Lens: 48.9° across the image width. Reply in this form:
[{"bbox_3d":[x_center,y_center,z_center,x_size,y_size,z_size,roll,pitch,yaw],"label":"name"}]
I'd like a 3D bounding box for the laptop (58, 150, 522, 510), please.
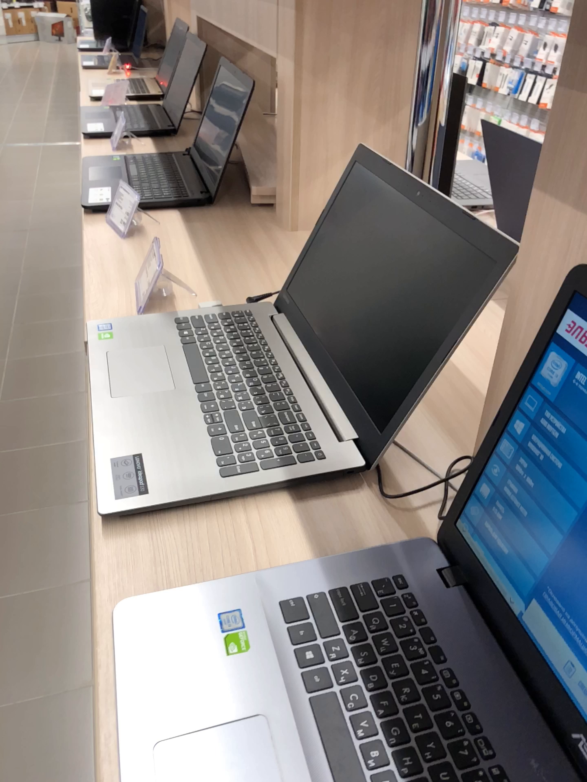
[{"bbox_3d":[-0.040,-0.104,0.698,0.365,0.208,0.372,-8,33,-13],"label":"laptop"}]

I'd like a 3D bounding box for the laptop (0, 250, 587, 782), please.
[{"bbox_3d":[0.081,0.141,0.292,0.334,0.246,0.405,-8,34,-13],"label":"laptop"}]
